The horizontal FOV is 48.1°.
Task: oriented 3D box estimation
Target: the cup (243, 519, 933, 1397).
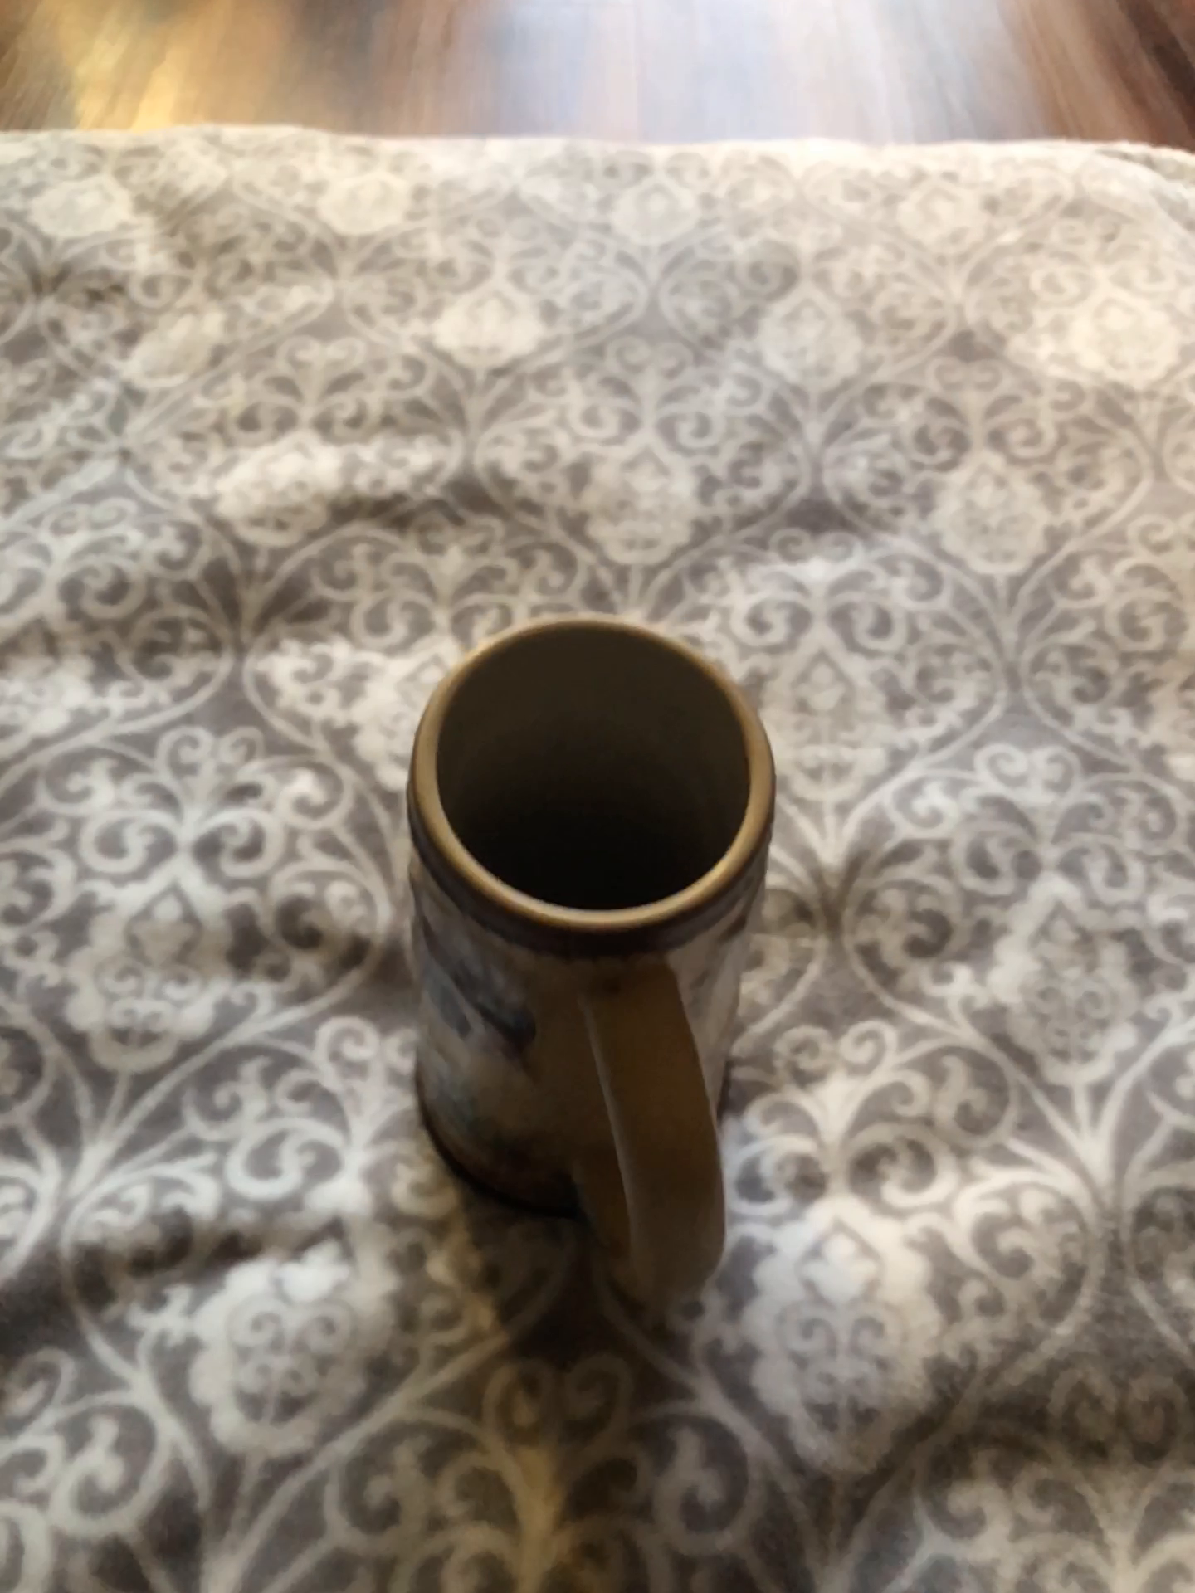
[{"bbox_3d":[-0.013,0.055,0.348,0.099,0.189,0.145,-14,62,-11],"label":"cup"}]
